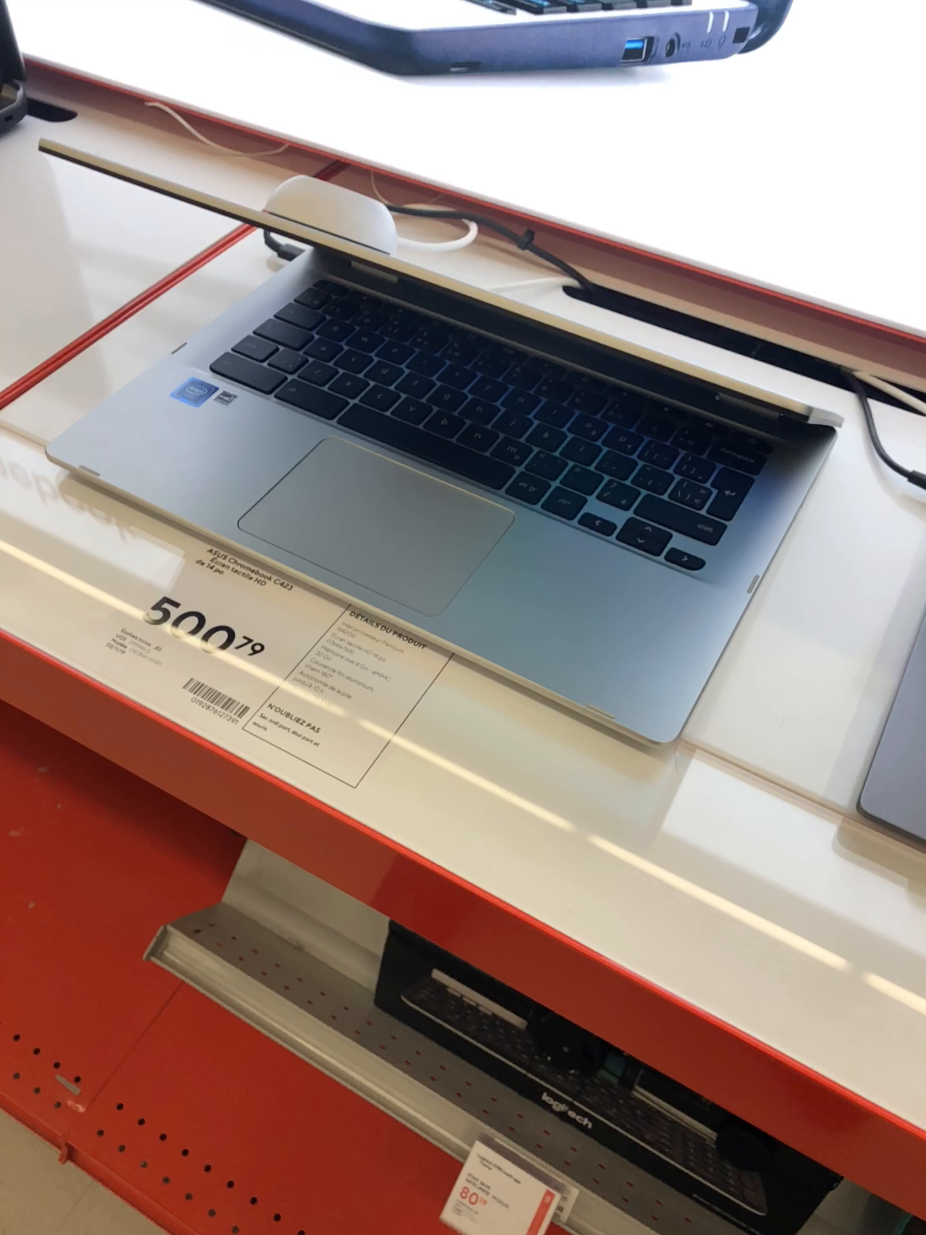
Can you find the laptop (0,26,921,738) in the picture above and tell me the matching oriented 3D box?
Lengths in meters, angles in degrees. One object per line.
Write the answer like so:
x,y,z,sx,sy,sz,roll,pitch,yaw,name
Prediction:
-0.003,-0.125,0.452,0.312,0.119,0.213,25,53,17,laptop
